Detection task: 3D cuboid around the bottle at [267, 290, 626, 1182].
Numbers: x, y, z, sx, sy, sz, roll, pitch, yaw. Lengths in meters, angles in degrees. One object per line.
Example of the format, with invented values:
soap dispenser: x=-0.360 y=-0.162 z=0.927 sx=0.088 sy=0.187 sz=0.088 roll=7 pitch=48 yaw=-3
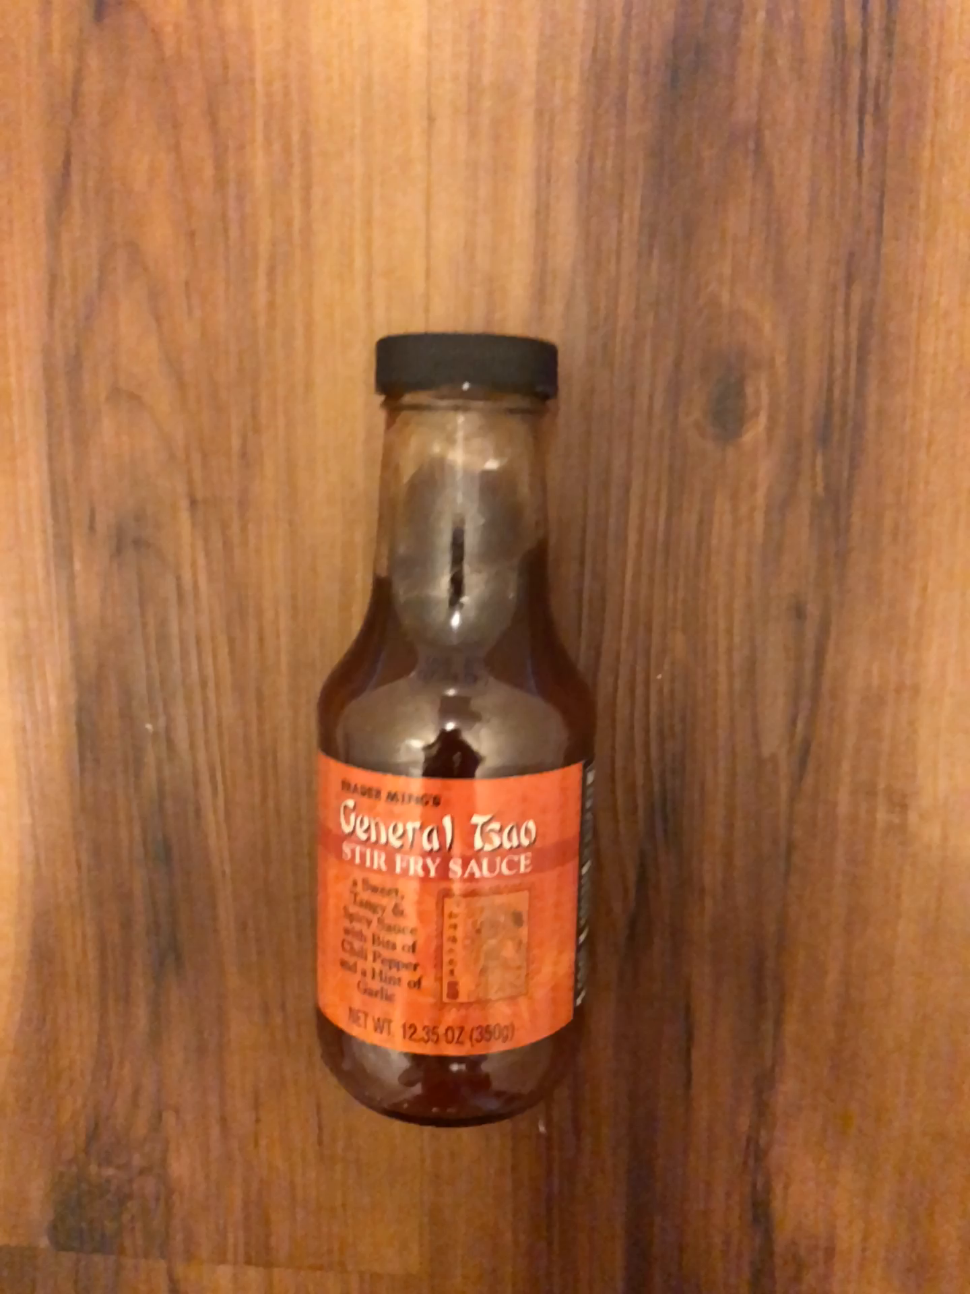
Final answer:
bottle: x=-0.005 y=0.018 z=0.249 sx=0.068 sy=0.060 sz=0.180 roll=2 pitch=98 yaw=8
